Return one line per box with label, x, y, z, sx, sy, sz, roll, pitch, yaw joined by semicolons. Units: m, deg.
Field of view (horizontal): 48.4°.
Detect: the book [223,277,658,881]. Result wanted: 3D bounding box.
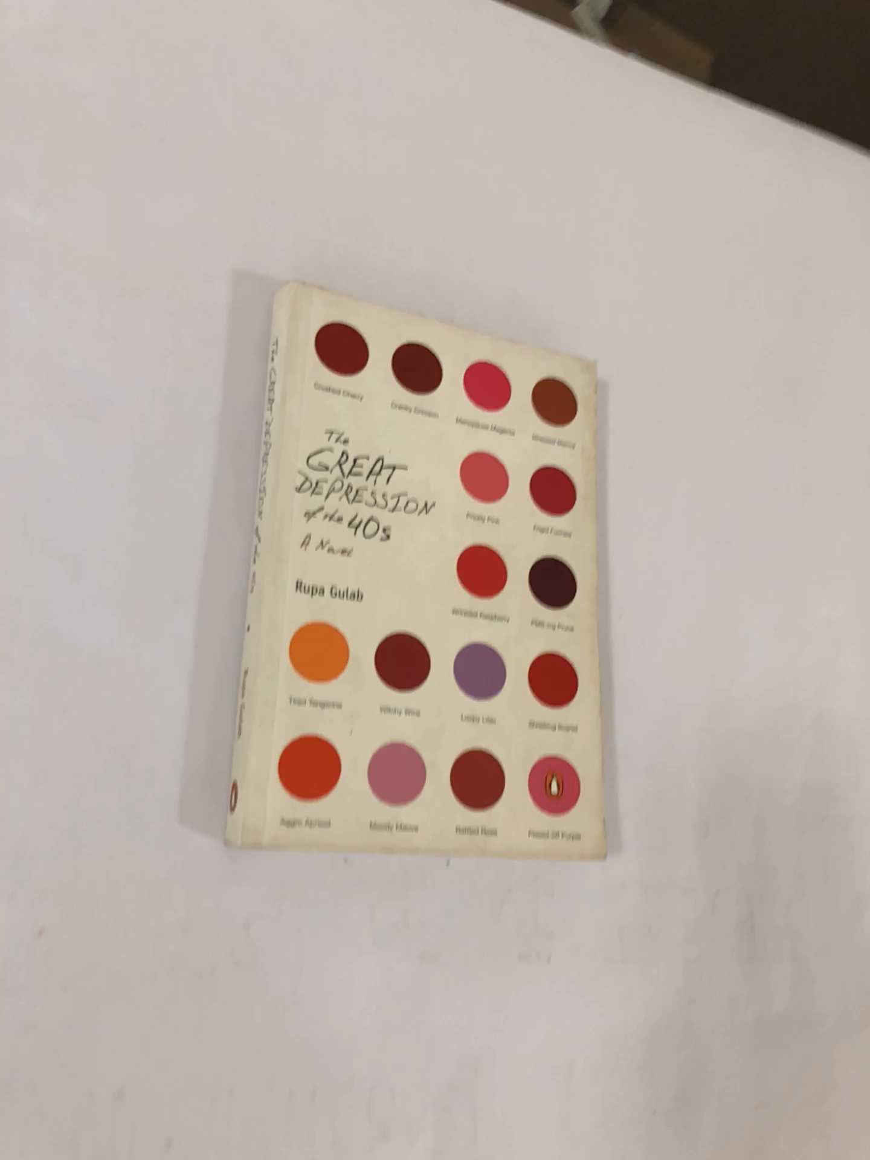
book;0.008;0.004;0.337;0.140;0.030;0.190;9;72;-23
